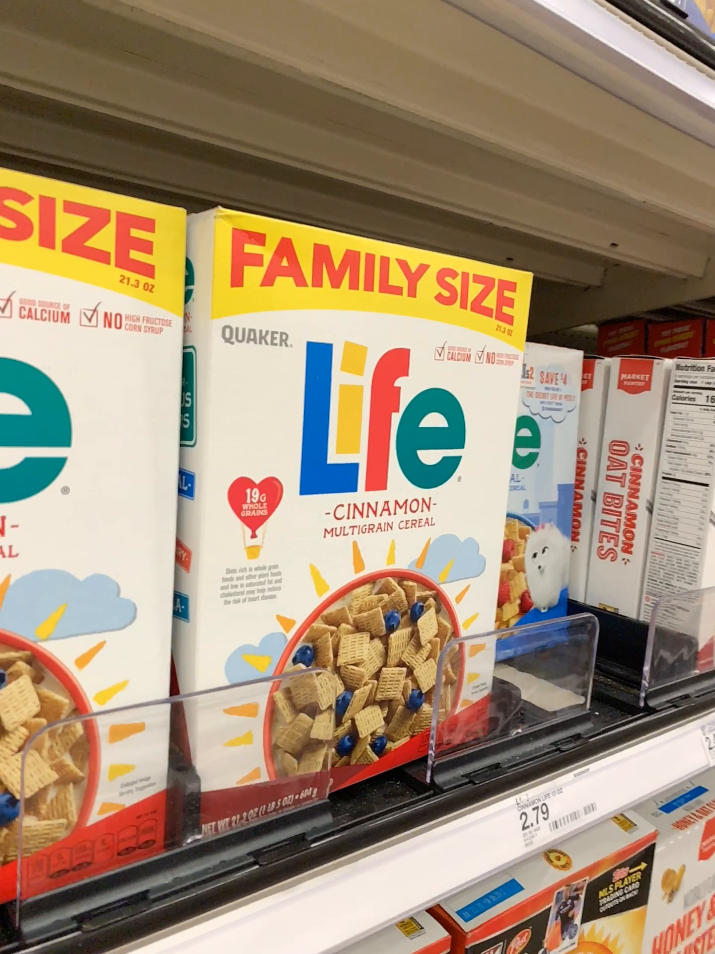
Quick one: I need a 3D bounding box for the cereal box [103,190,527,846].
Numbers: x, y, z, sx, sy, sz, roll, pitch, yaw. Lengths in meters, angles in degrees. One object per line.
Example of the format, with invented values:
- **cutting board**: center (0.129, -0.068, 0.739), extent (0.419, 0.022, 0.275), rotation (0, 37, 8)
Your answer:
- **cereal box**: center (-0.018, 0.015, 0.370), extent (0.190, 0.260, 0.070), rotation (-2, 9, -35)
